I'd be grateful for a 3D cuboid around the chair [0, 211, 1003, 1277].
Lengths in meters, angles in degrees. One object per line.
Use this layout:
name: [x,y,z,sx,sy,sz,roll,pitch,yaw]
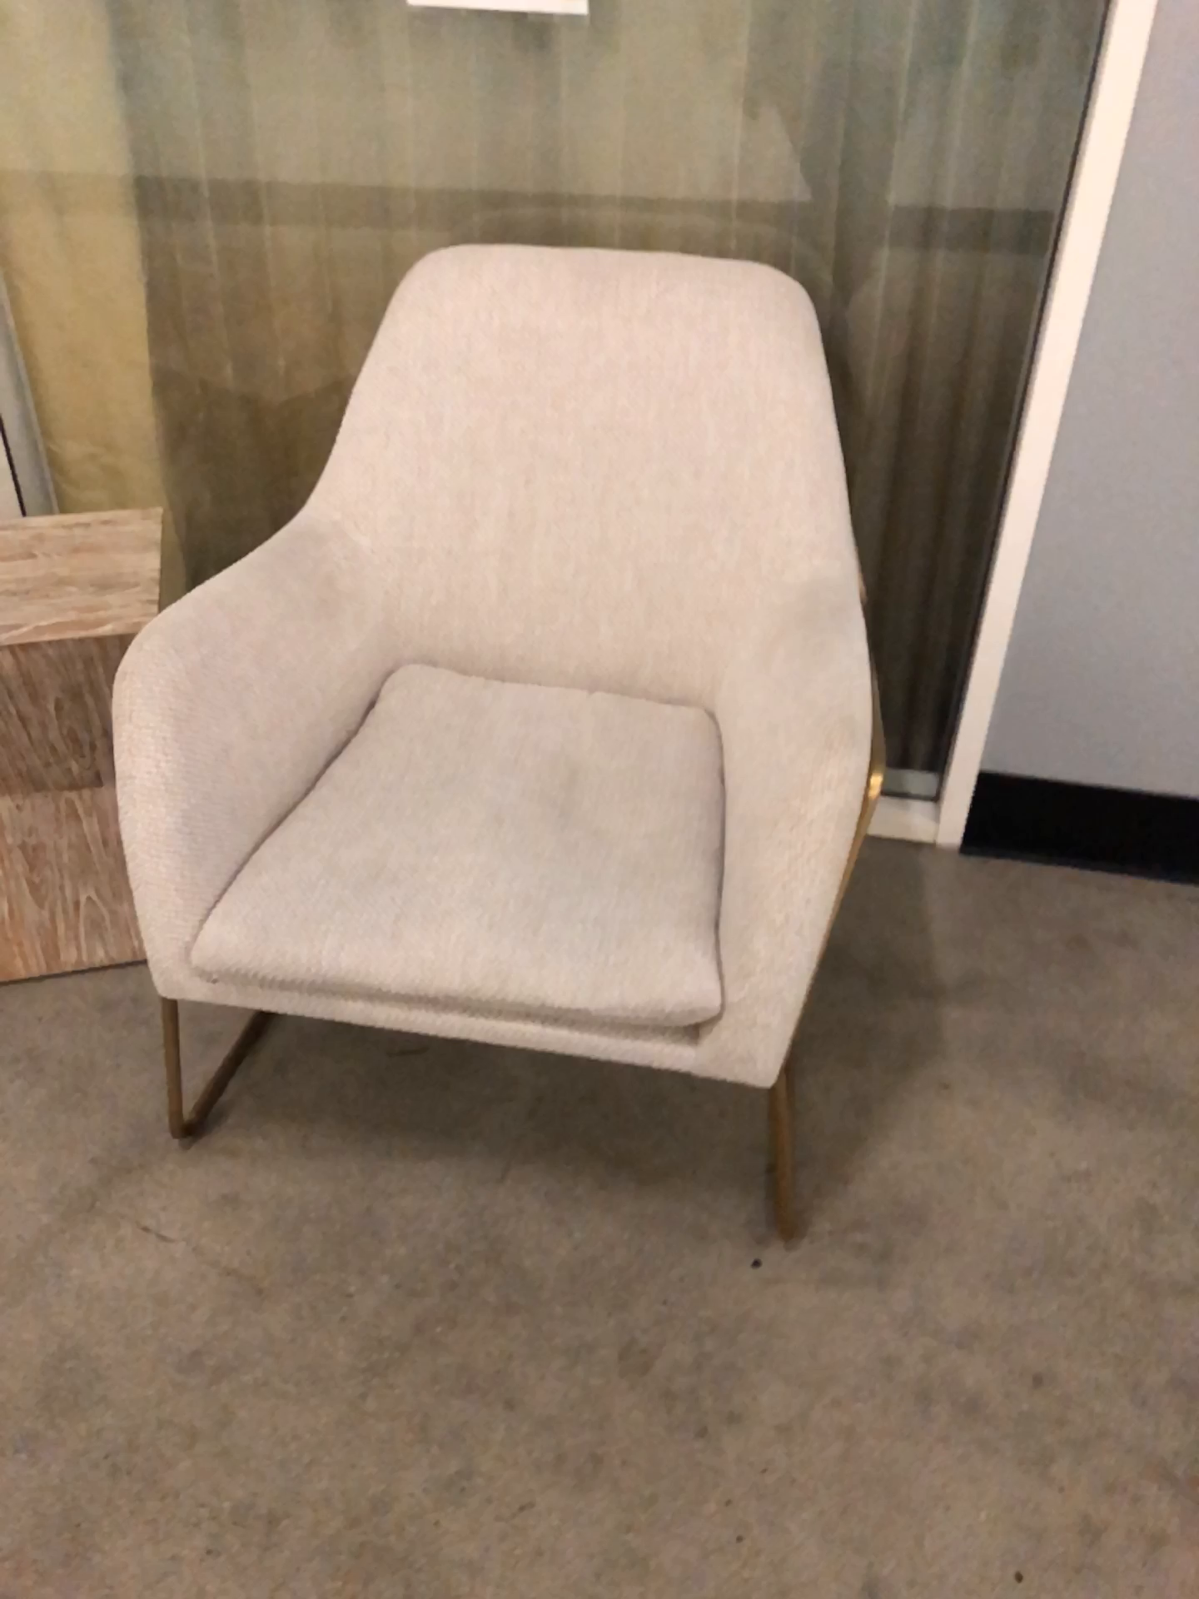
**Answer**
chair: [-0.051,-0.140,1.573,0.830,0.816,0.894,7,36,8]
